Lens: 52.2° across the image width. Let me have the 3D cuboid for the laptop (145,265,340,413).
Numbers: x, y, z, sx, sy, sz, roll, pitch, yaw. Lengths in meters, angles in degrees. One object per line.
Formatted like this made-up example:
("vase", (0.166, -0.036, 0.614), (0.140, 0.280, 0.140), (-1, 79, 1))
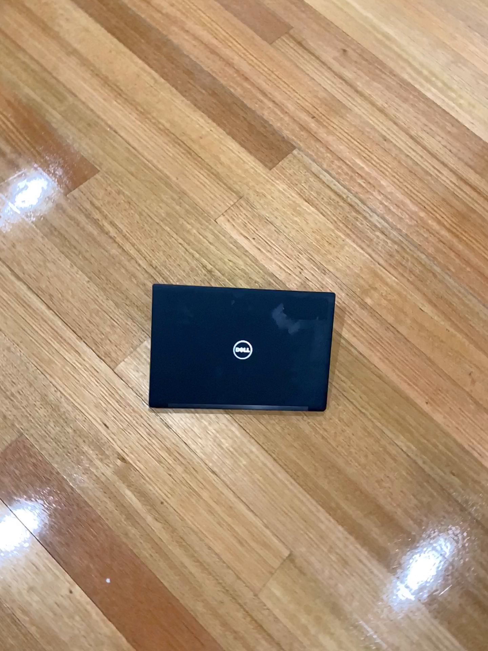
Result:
("laptop", (-0.005, 0.028, 0.835), (0.296, 0.110, 0.206), (3, 73, -5))
